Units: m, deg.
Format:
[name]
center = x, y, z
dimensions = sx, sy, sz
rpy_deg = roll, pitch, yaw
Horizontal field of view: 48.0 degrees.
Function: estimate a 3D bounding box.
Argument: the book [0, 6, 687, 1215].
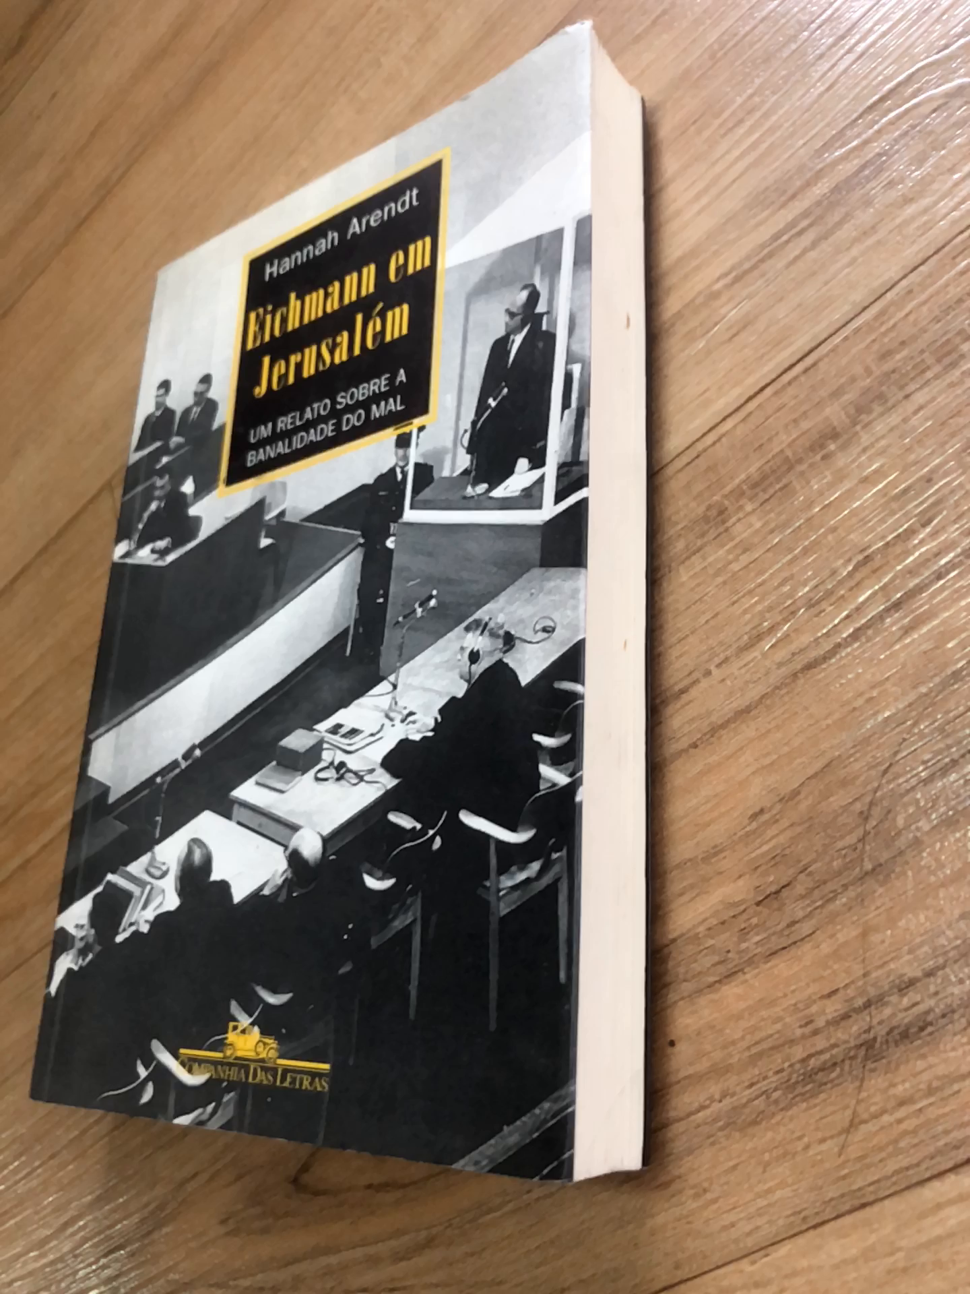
[book]
center = -0.032, -0.009, 0.221
dimensions = 0.145, 0.023, 0.203
rpy_deg = -11, 67, 35
